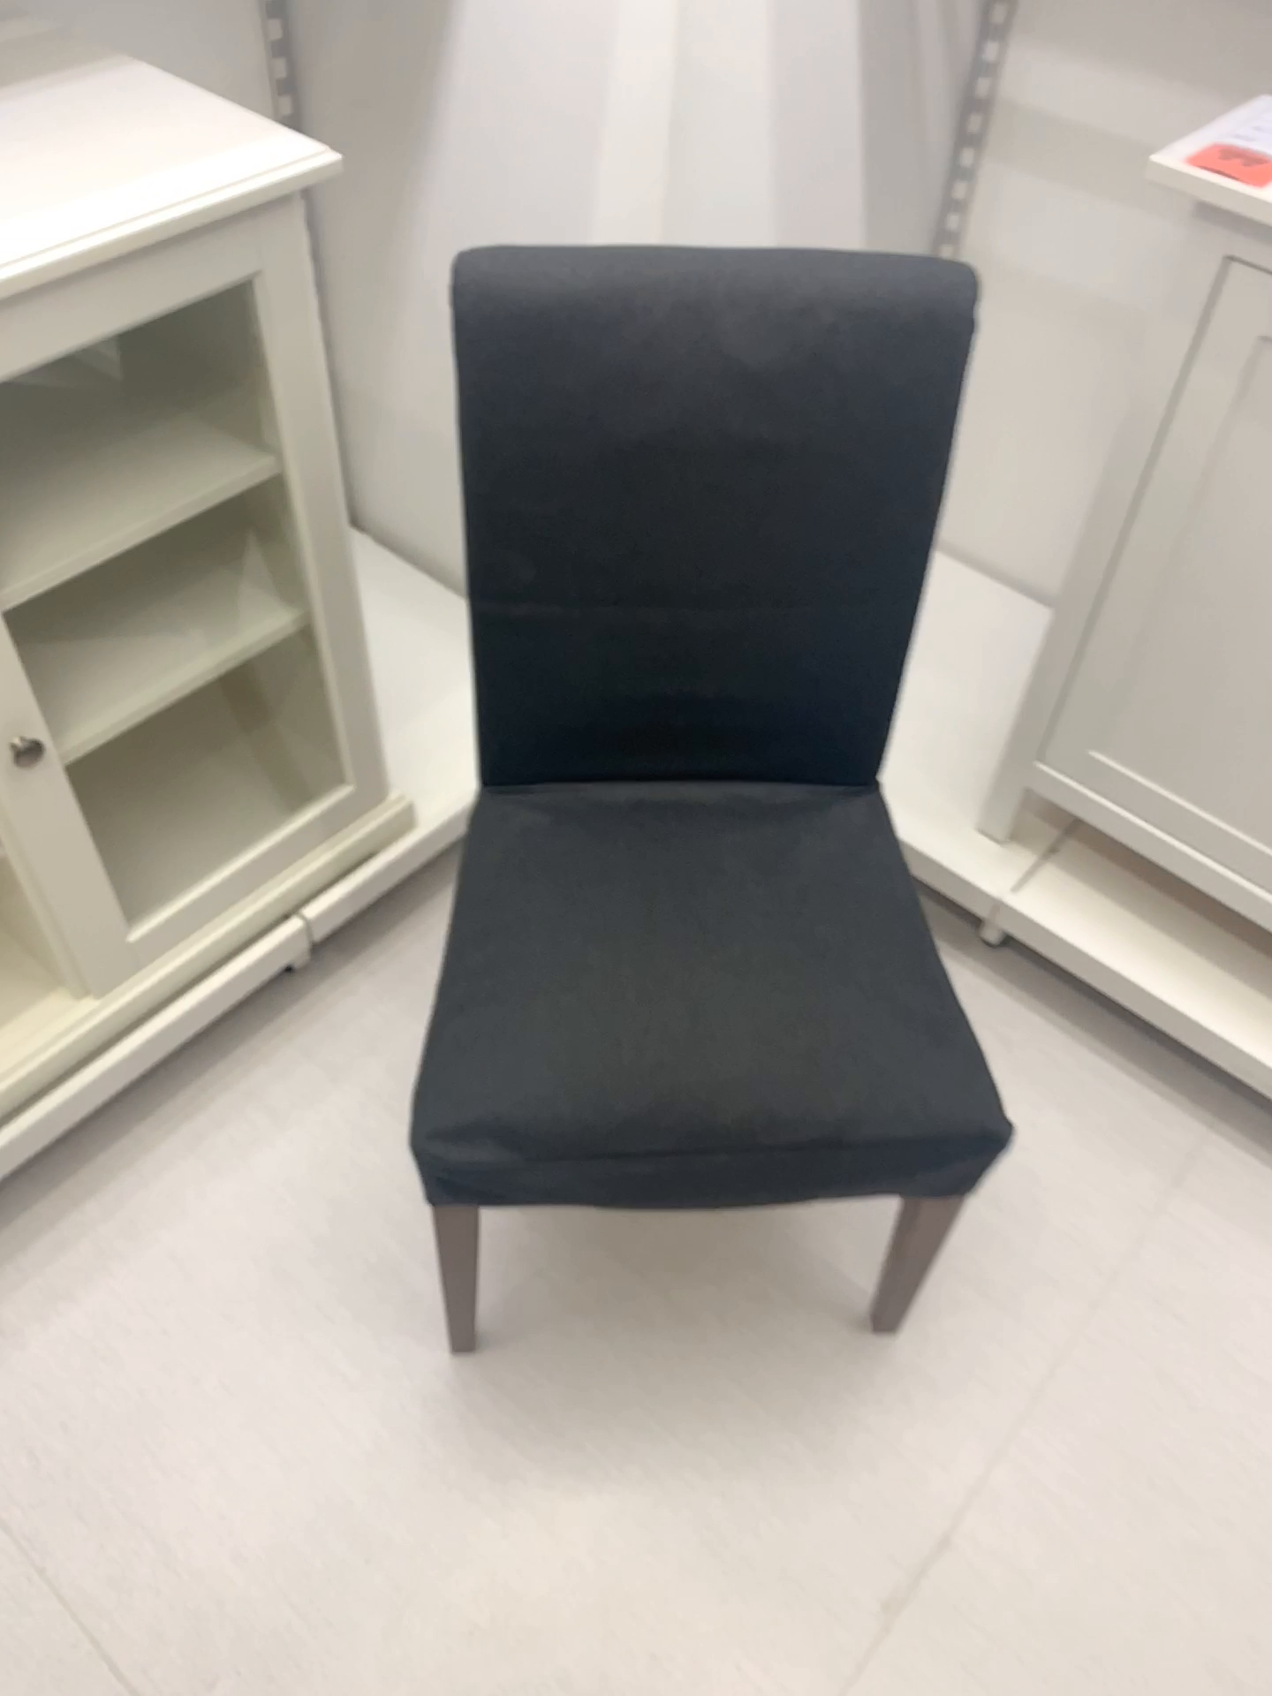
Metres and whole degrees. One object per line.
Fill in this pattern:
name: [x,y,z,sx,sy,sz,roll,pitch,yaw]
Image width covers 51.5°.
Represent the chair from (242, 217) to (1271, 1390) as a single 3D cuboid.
chair: [0.044,0.007,1.165,0.540,0.837,0.612,-1,49,-4]
